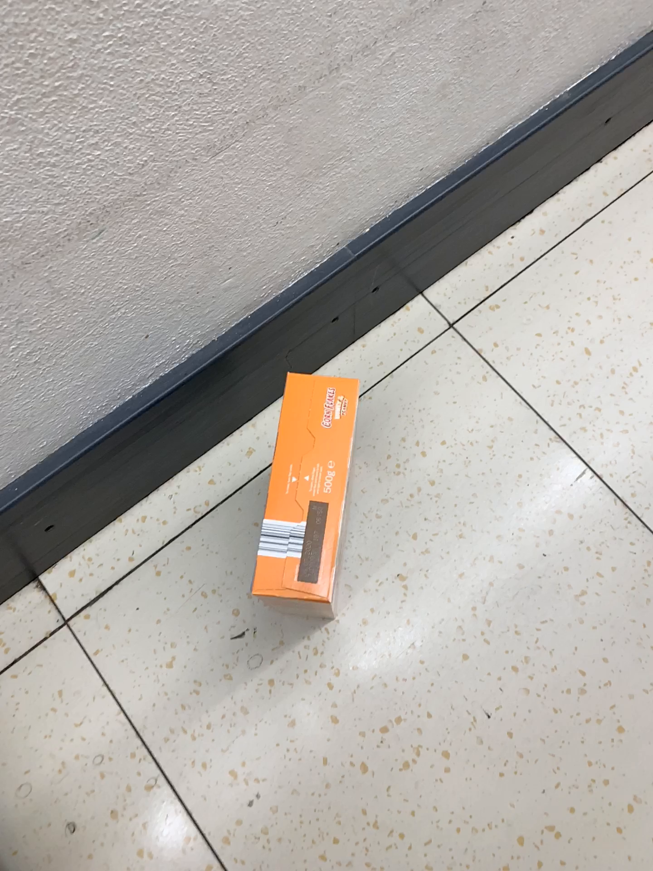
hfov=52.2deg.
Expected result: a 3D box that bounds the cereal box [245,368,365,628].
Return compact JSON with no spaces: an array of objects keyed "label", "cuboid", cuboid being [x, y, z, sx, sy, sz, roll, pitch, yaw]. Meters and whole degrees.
[{"label":"cereal box","cuboid":[-0.011,0.081,0.677,0.070,0.269,0.201,7,72,4]}]
